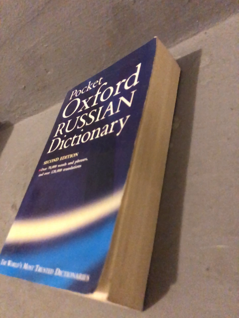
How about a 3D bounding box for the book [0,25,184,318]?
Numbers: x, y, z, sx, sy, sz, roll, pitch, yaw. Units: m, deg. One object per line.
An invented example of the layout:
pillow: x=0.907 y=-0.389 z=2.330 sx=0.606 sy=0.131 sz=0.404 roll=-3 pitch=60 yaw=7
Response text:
book: x=-0.028 y=0.000 z=0.214 sx=0.138 sy=0.032 sz=0.195 roll=-14 pitch=51 yaw=43
